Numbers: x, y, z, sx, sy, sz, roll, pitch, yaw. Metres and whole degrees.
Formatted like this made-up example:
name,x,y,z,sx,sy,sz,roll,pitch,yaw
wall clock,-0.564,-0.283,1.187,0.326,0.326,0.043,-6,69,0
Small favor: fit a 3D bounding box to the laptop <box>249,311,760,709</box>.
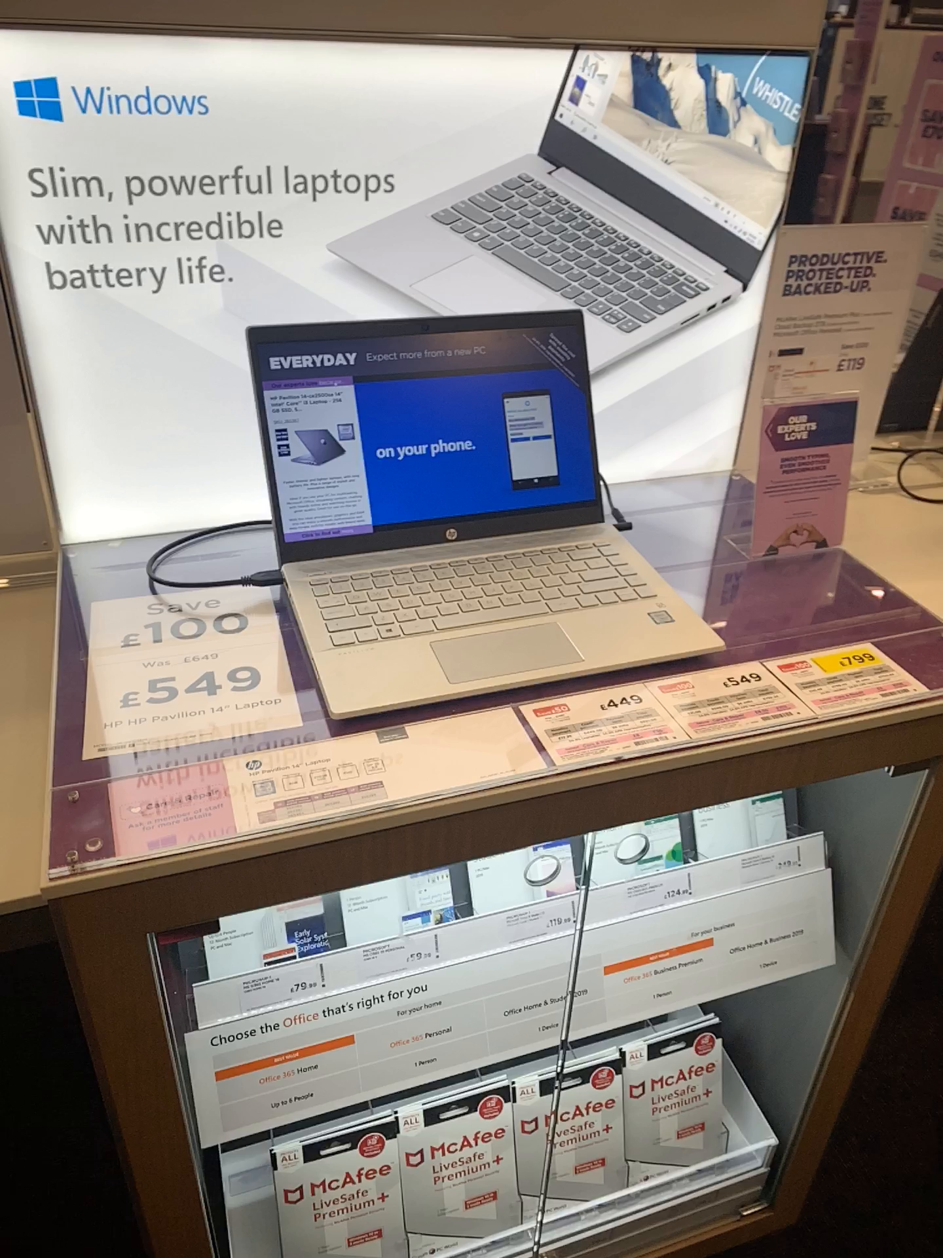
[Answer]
name,x,y,z,sx,sy,sz,roll,pitch,yaw
laptop,0.002,-0.126,0.814,0.313,0.171,0.324,-9,35,-17
